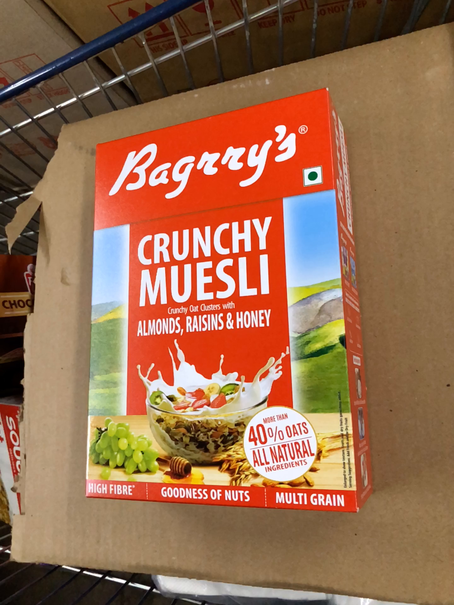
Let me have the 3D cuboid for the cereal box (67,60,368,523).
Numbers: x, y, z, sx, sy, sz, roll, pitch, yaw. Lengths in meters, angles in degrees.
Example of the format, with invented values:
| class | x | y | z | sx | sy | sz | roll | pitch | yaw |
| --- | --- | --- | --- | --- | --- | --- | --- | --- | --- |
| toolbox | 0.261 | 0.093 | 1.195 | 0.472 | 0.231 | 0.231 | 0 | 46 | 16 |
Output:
| class | x | y | z | sx | sy | sz | roll | pitch | yaw |
| --- | --- | --- | --- | --- | --- | --- | --- | --- | --- |
| cereal box | -0.011 | -0.003 | 0.343 | 0.180 | 0.070 | 0.260 | -6 | 80 | 22 |
